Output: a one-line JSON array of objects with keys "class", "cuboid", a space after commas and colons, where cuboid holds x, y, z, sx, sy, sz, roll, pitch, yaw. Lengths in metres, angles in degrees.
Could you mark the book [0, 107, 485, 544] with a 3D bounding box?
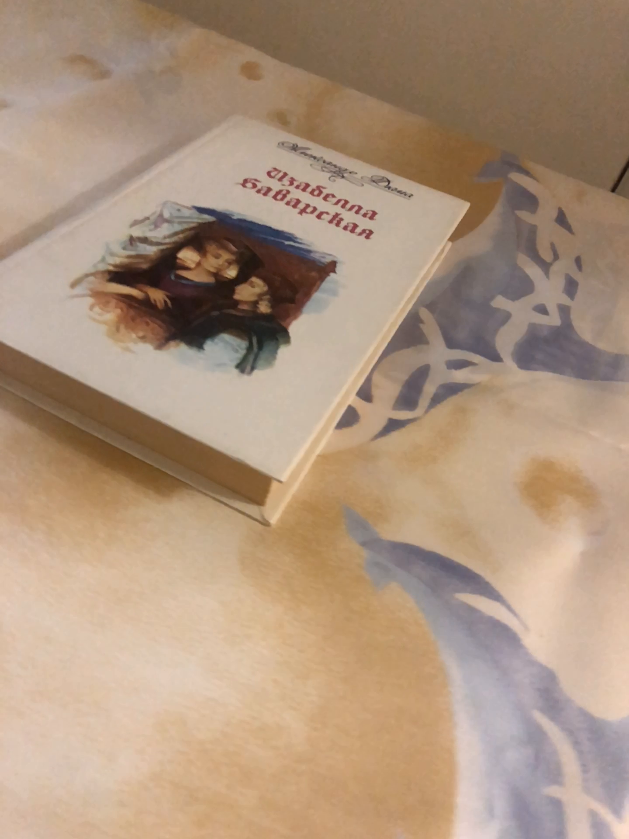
[{"class": "book", "cuboid": [-0.025, -0.062, 0.291, 0.139, 0.026, 0.209, 24, 46, 10]}]
